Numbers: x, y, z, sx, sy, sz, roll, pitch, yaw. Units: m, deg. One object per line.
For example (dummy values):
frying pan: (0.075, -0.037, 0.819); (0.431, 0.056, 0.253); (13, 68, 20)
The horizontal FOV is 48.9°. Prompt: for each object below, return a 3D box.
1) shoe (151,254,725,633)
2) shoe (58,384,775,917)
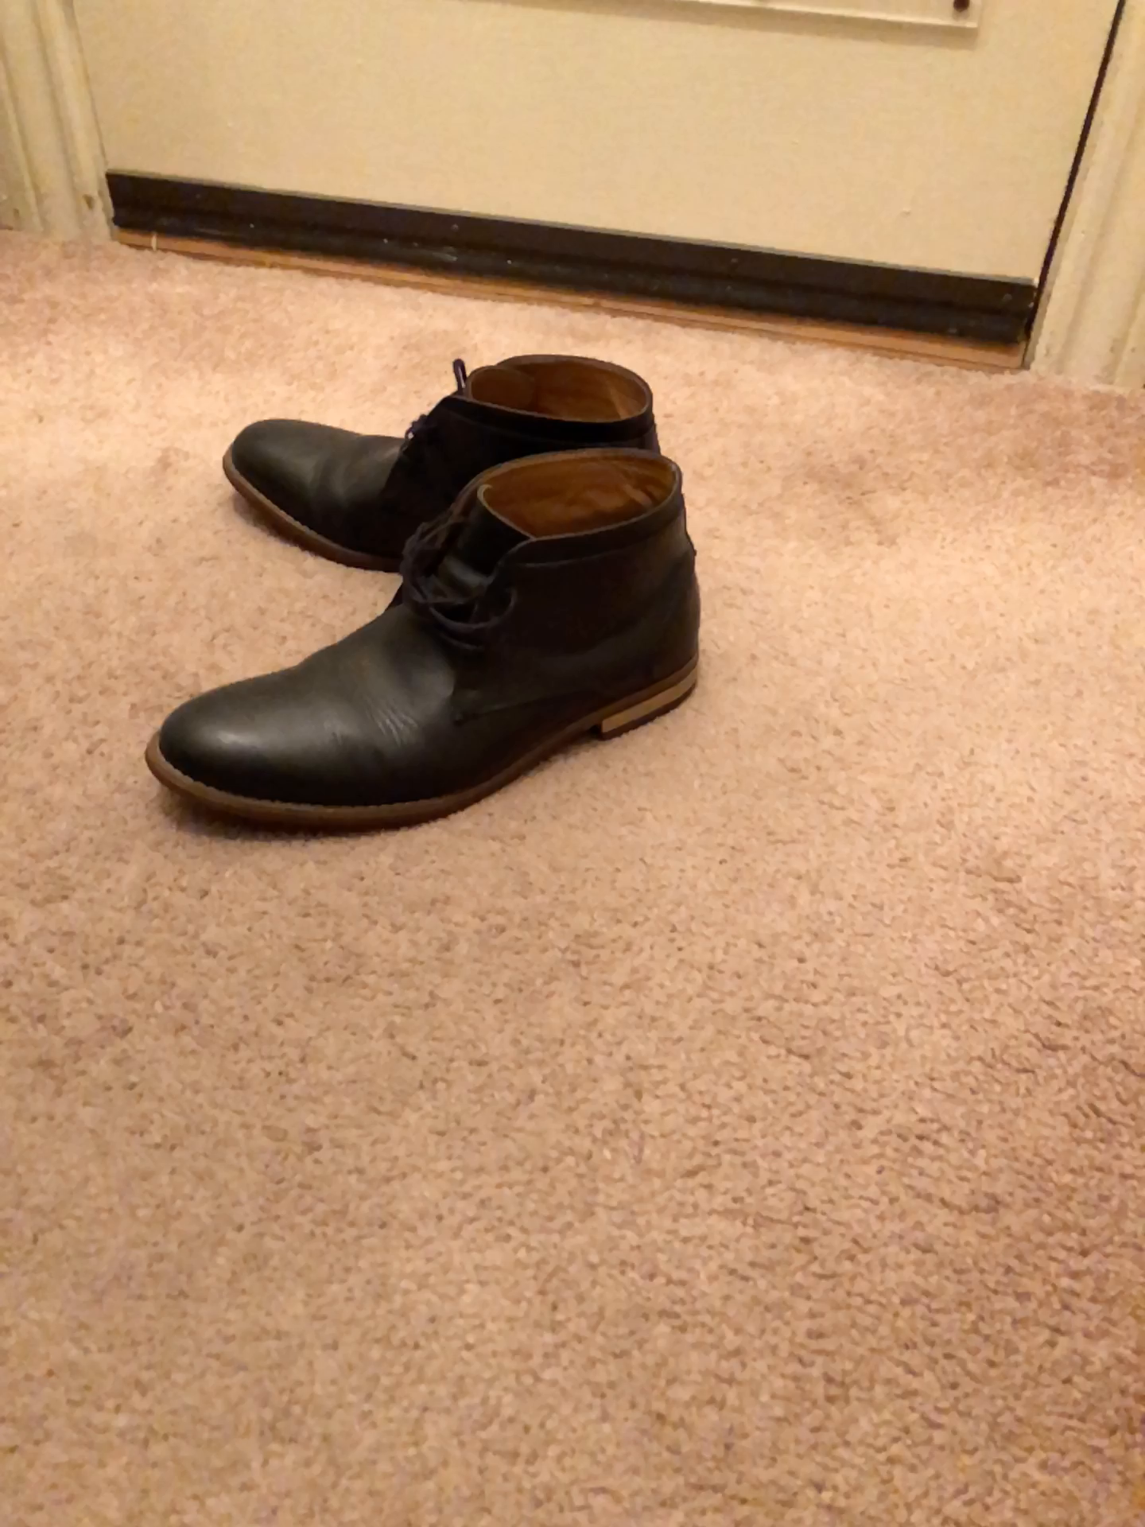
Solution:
shoe: (-0.075, -0.196, 0.759); (0.302, 0.135, 0.117); (13, 44, 11)
shoe: (-0.066, -0.066, 0.615); (0.303, 0.135, 0.116); (-21, 48, -24)
